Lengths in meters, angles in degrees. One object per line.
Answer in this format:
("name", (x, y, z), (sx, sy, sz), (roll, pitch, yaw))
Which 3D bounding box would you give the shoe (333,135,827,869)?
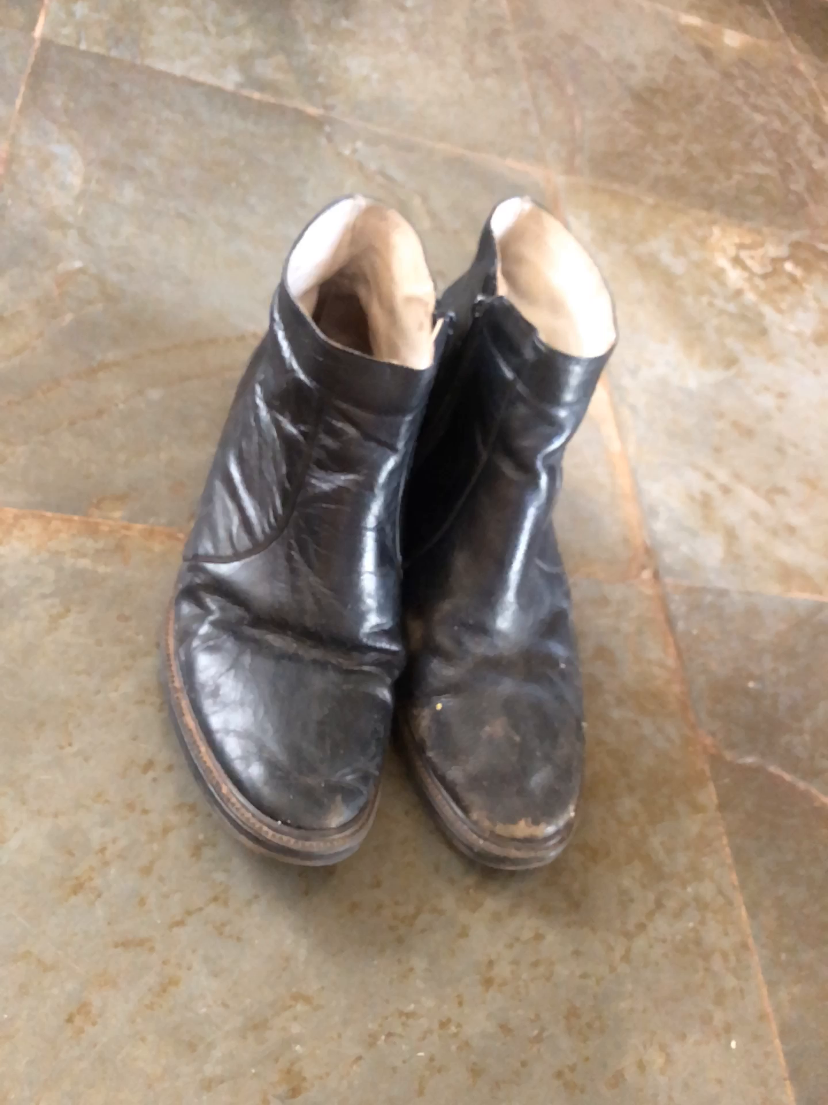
("shoe", (0.048, -0.020, 0.391), (0.100, 0.159, 0.251), (3, 56, -21))

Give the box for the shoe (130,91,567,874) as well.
("shoe", (-0.040, -0.025, 0.364), (0.100, 0.159, 0.251), (8, 54, -17))
